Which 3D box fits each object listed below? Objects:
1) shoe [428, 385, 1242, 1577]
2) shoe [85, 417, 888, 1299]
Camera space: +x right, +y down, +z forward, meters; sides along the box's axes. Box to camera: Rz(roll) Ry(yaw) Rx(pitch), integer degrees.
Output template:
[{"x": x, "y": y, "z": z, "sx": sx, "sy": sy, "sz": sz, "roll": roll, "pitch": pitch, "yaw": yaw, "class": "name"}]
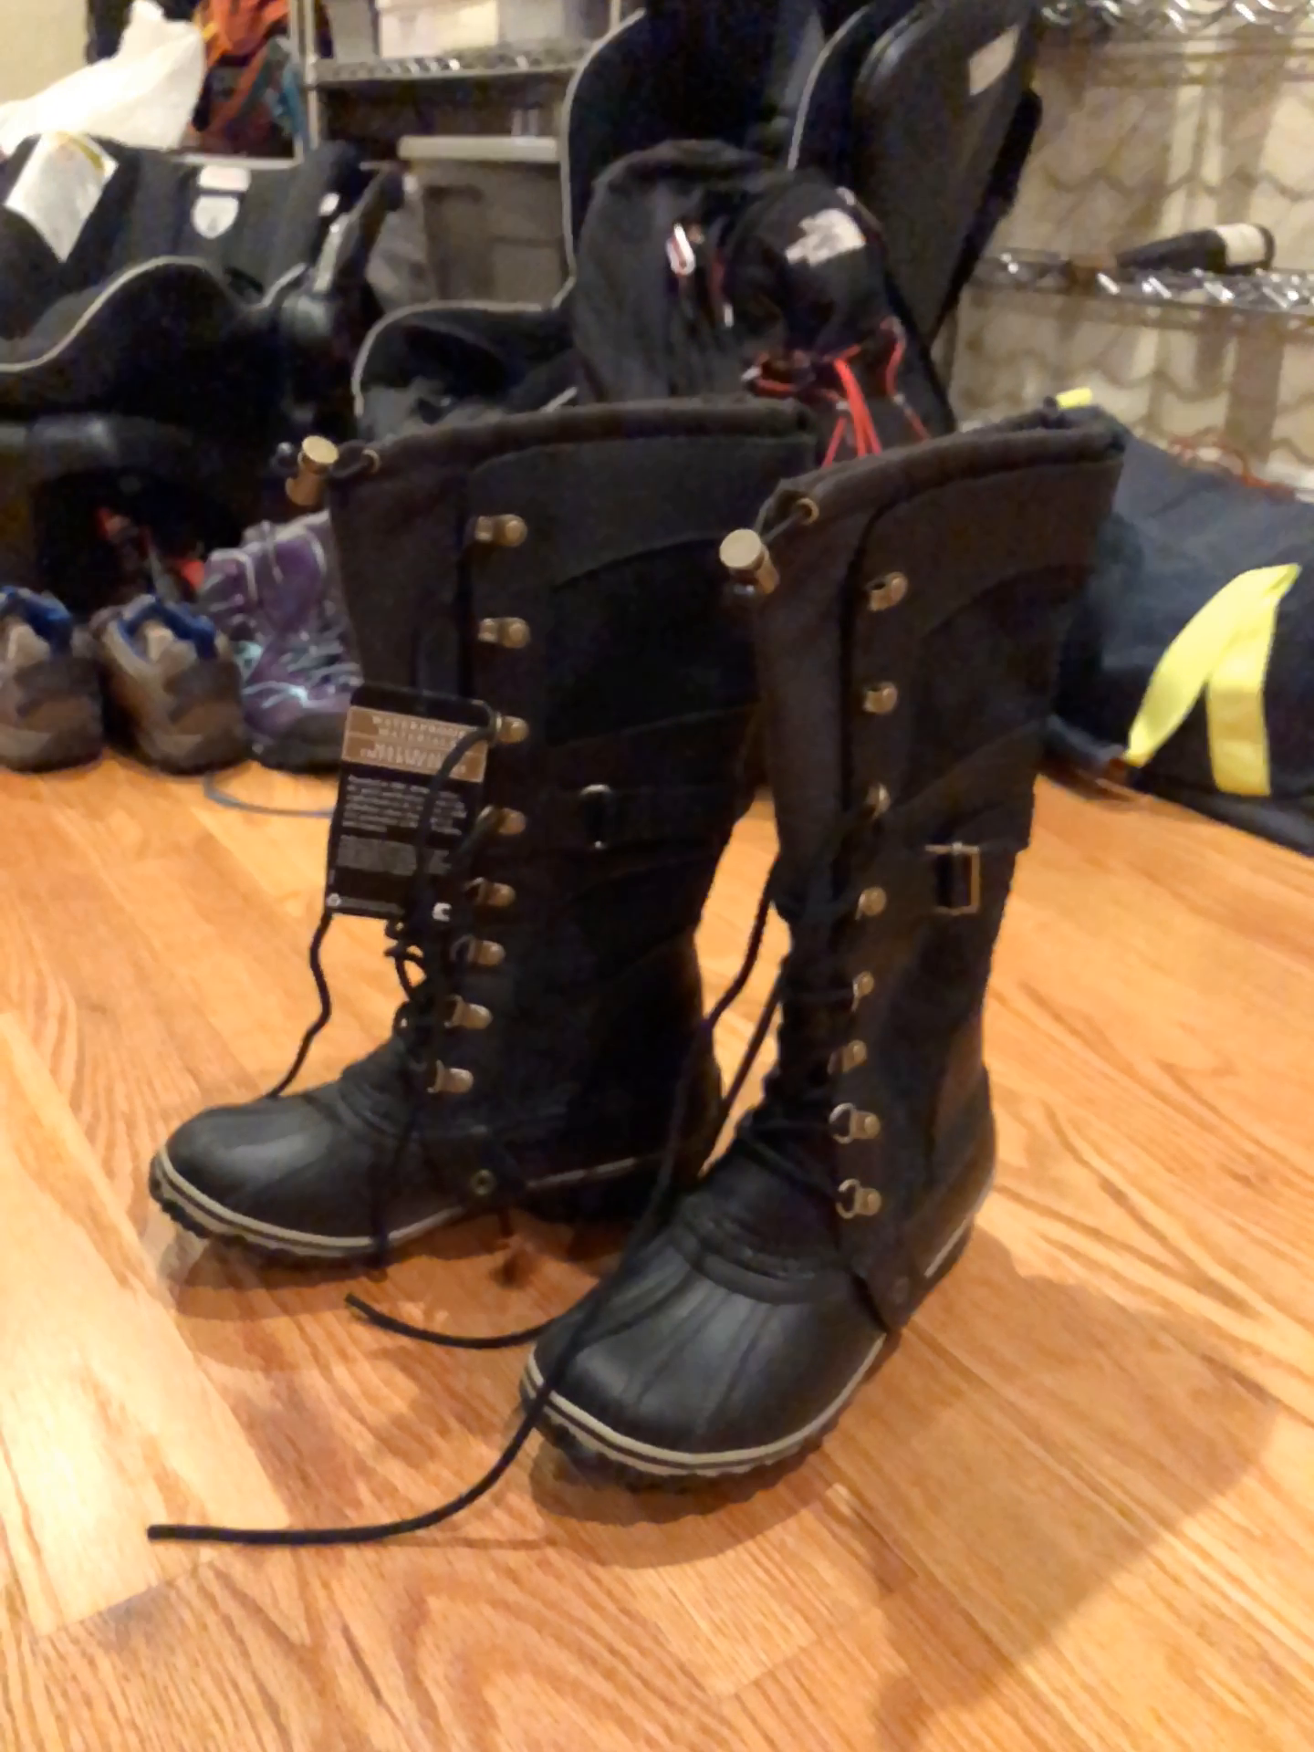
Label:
[{"x": 0.061, "y": 0.016, "z": 0.503, "sx": 0.100, "sy": 0.328, "sz": 0.261, "roll": 24, "pitch": 32, "yaw": 39, "class": "shoe"}, {"x": -0.066, "y": -0.012, "z": 0.574, "sx": 0.260, "sy": 0.308, "sz": 0.100, "roll": -6, "pitch": 26, "yaw": -17, "class": "shoe"}]
